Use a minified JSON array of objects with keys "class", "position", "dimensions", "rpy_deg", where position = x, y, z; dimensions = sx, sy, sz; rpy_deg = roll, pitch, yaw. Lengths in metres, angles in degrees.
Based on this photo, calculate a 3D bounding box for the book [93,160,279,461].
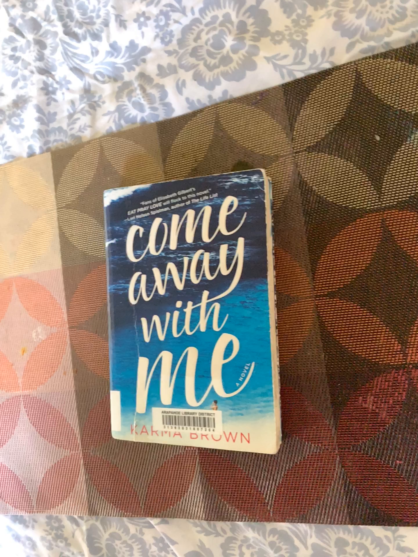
[{"class":"book","position":[-0.020,0.023,0.326],"dimensions":[0.134,0.030,0.200],"rpy_deg":[-3,87,22]}]
